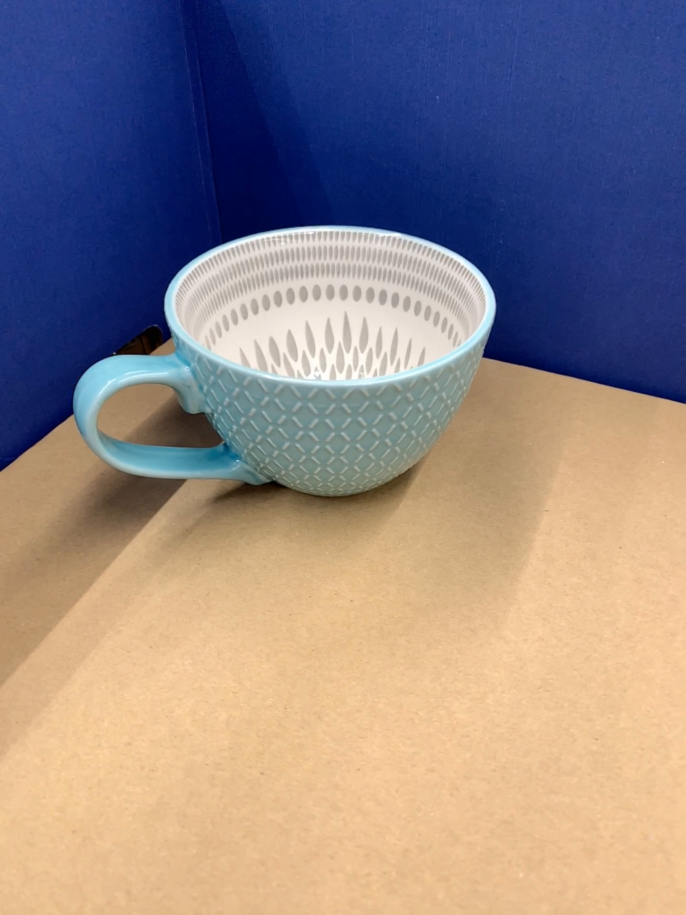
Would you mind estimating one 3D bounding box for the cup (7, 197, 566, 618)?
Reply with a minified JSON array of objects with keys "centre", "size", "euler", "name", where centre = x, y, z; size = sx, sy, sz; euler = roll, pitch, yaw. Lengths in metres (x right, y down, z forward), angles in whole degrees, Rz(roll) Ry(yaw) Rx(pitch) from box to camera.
[{"centre":[-0.023,-0.031,0.256],"size":[0.152,0.059,0.113],"euler":[-19,46,-22],"name":"cup"}]
